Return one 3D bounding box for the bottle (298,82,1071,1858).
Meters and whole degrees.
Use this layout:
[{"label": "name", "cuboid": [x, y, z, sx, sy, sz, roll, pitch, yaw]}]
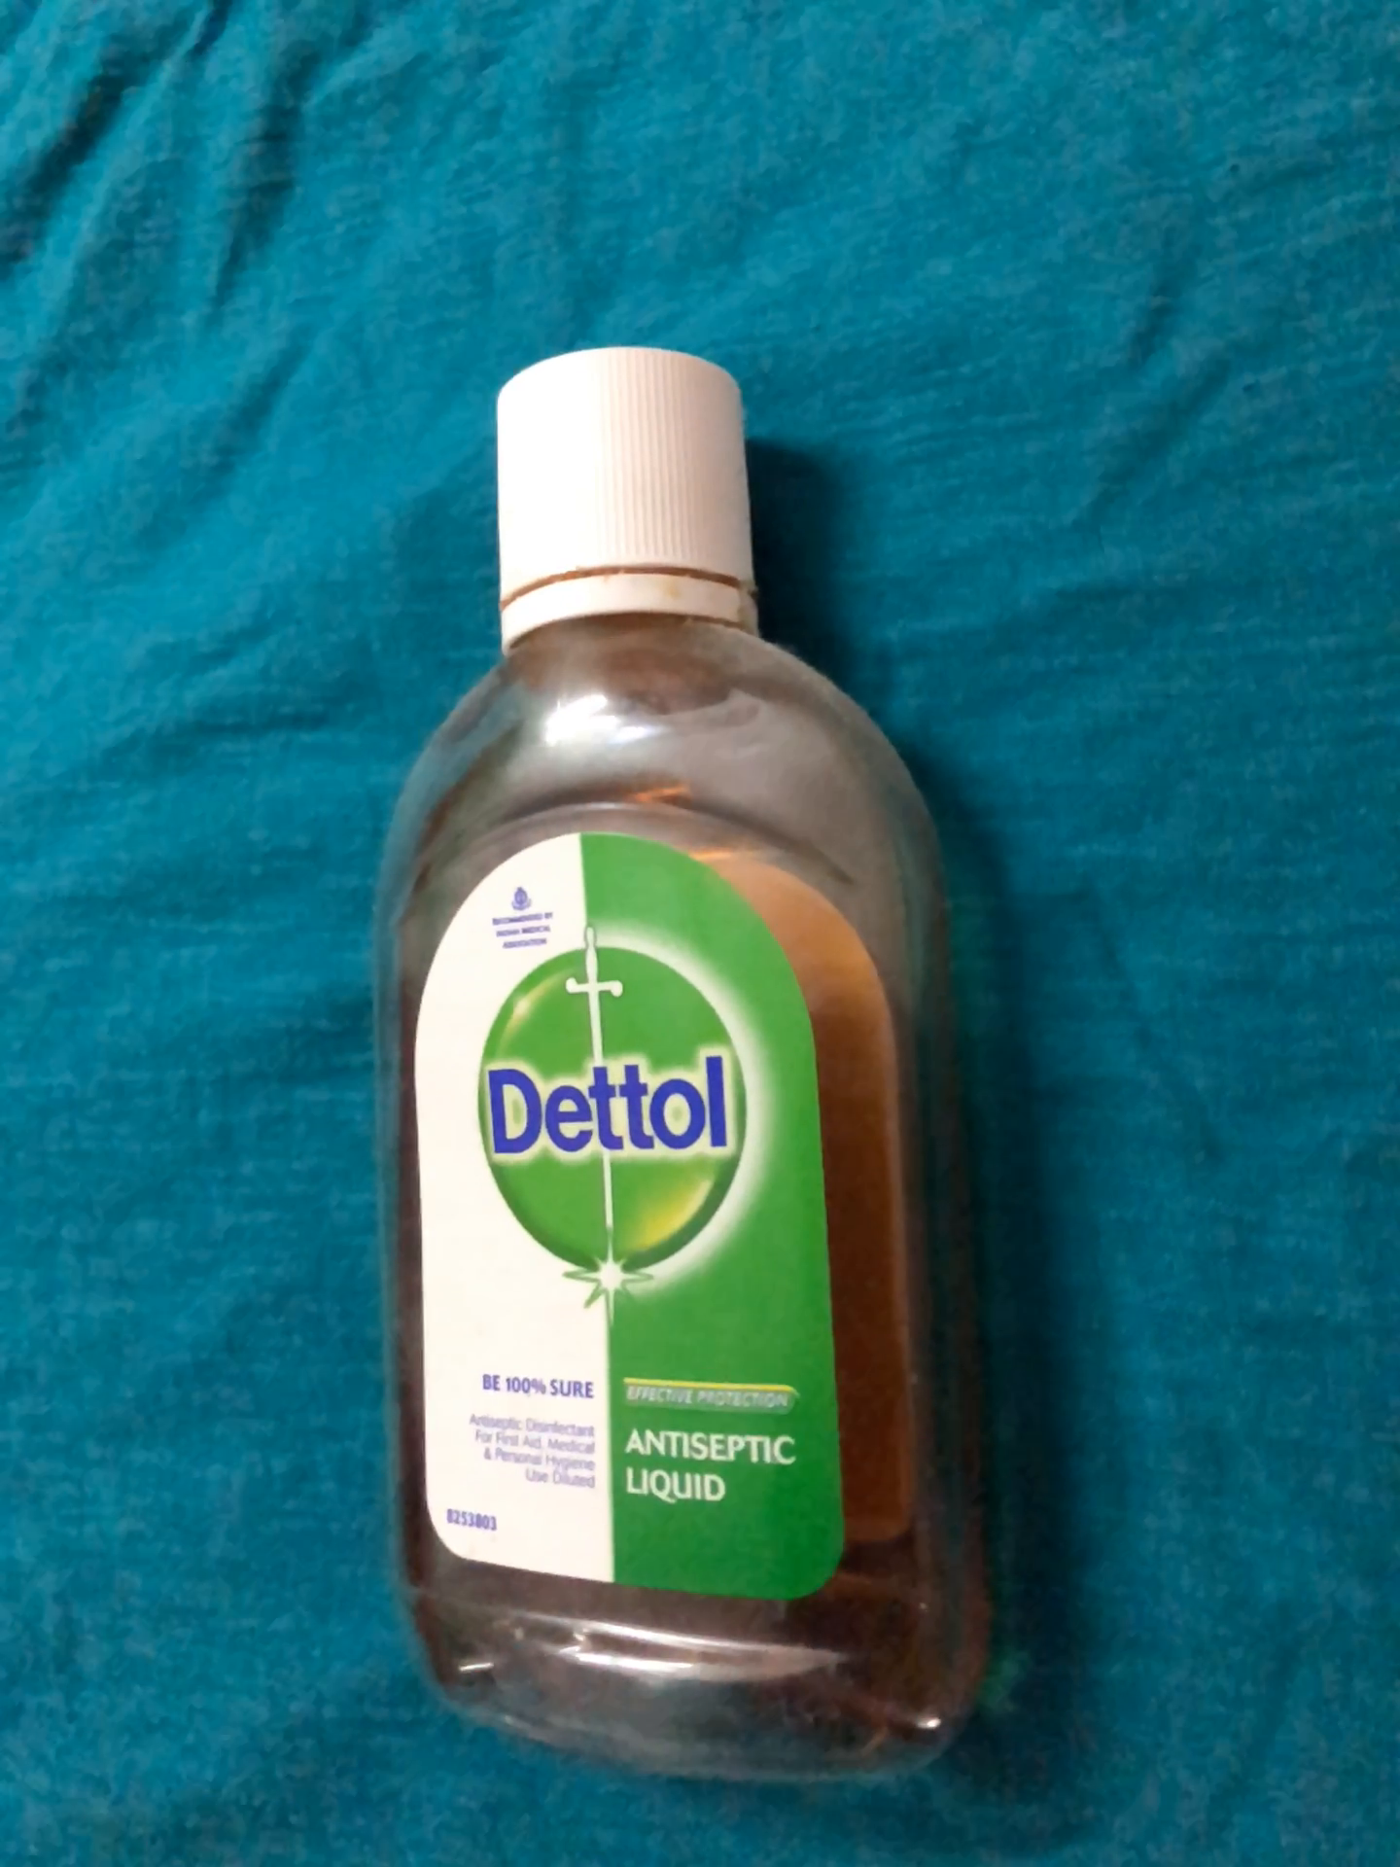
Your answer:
[{"label": "bottle", "cuboid": [-0.004, 0.002, 0.192, 0.080, 0.040, 0.180, -5, 82, 23]}]
